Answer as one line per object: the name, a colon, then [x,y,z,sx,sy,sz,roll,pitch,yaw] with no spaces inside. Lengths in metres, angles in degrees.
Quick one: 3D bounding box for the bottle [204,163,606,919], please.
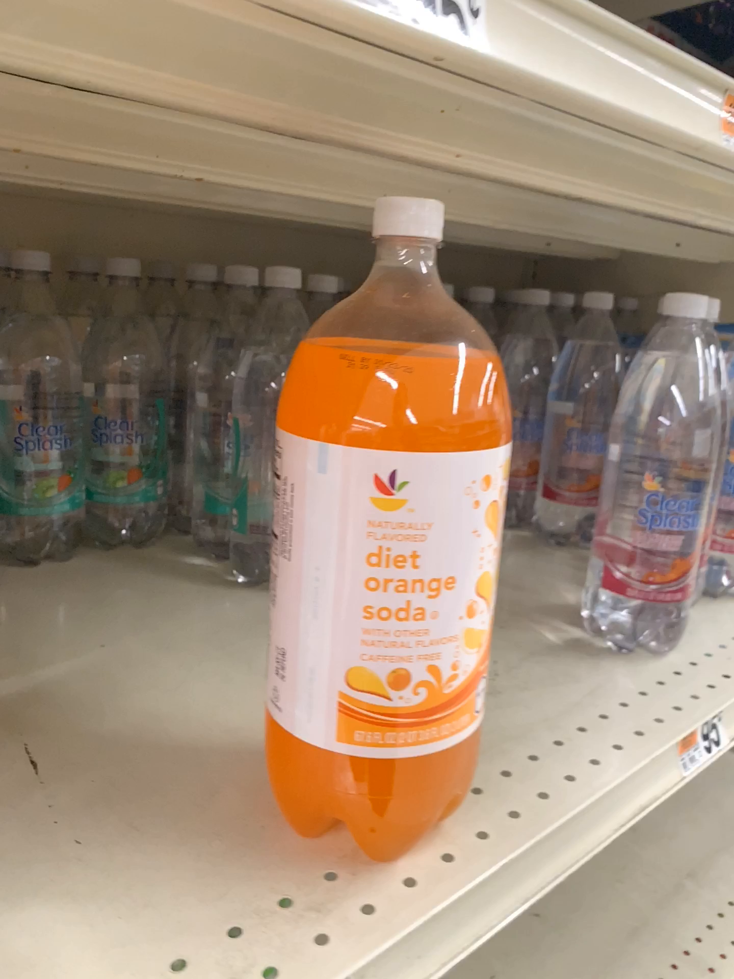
bottle: [0.005,0.017,0.351,0.120,0.289,0.110,4,15,-1]
